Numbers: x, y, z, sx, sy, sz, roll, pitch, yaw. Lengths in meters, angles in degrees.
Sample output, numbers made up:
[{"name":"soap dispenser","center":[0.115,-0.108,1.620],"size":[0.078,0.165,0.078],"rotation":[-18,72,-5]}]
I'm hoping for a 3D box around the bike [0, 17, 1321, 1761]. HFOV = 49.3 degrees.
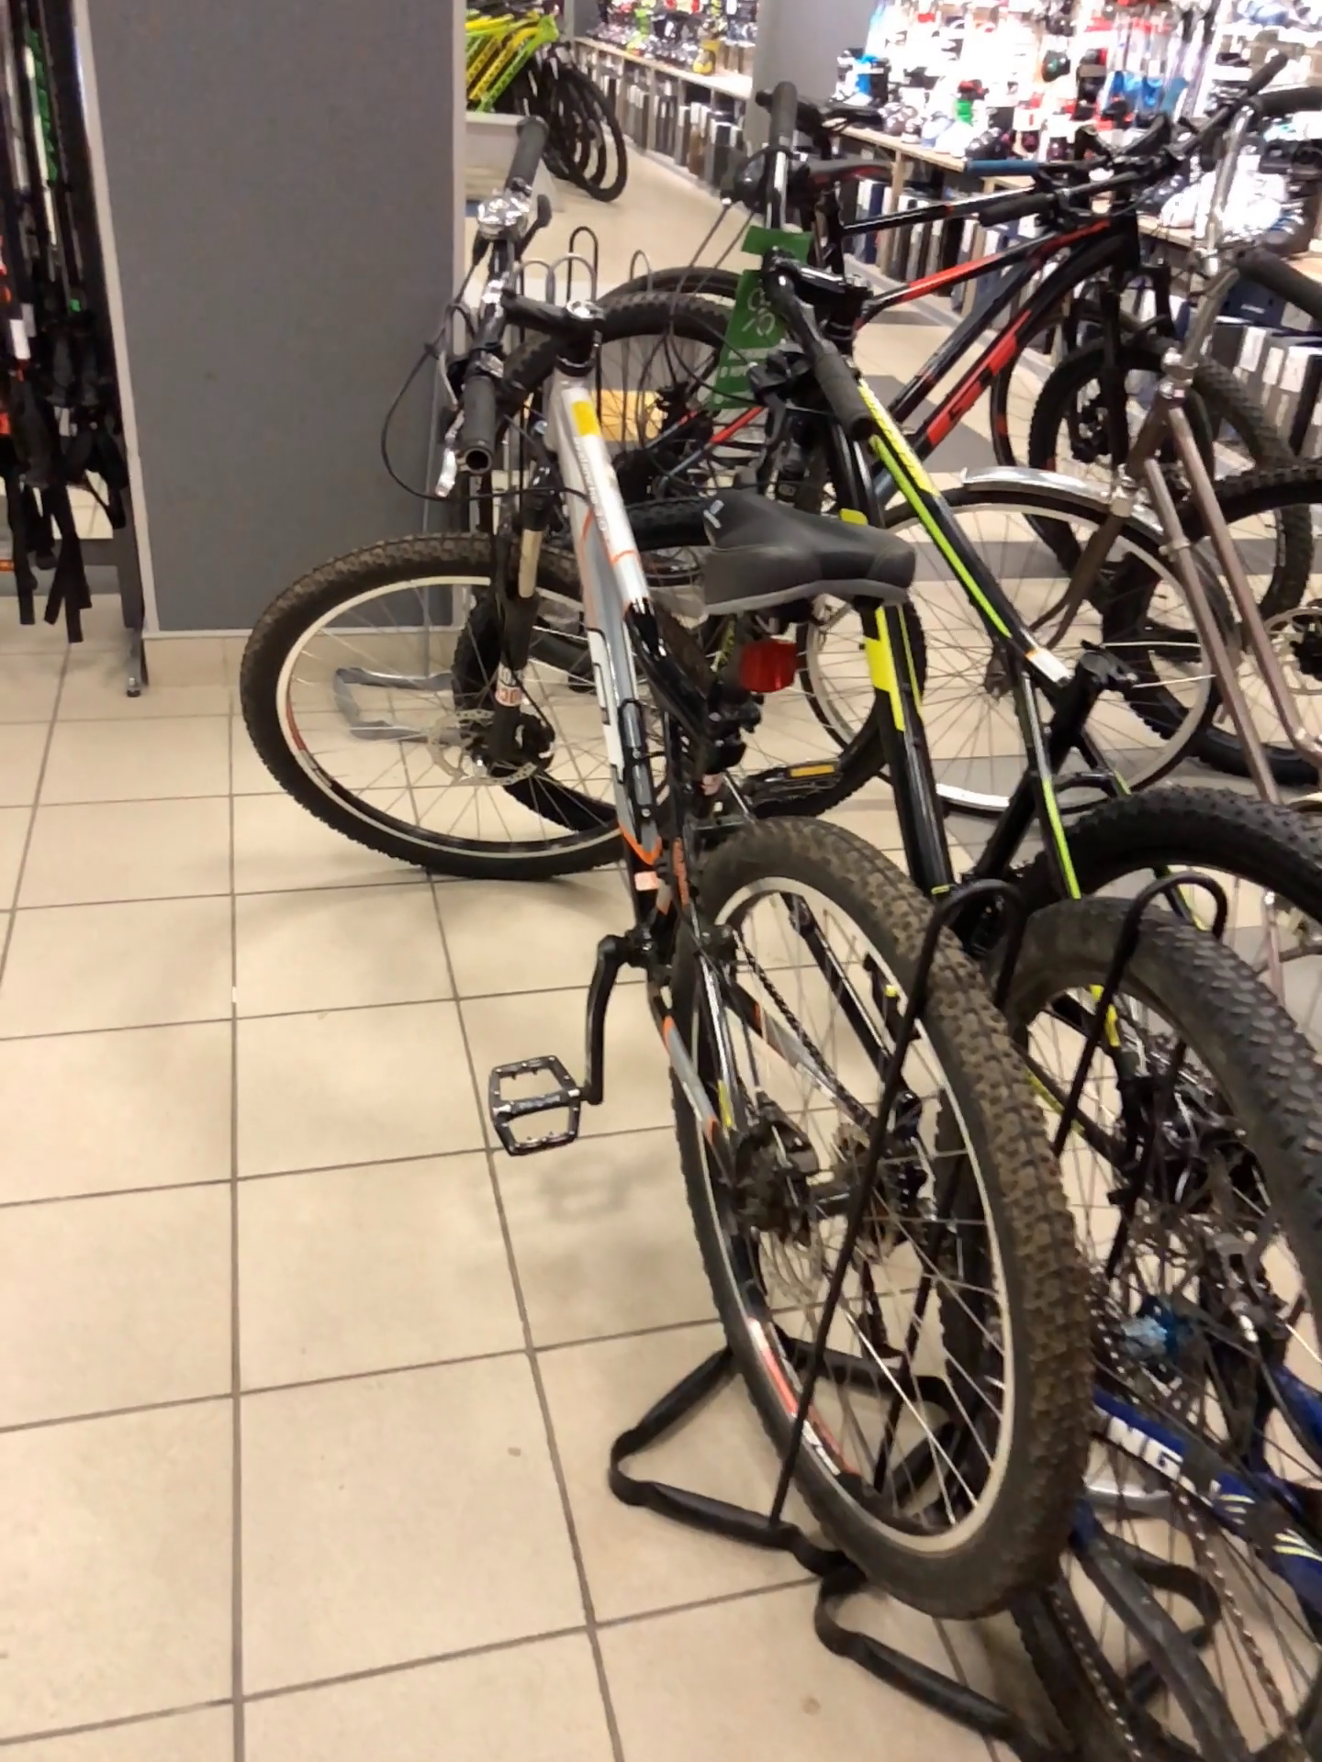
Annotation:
[{"name":"bike","center":[-0.084,-0.113,1.364],"size":[0.626,1.012,1.430],"rotation":[-16,39,-31]}]
